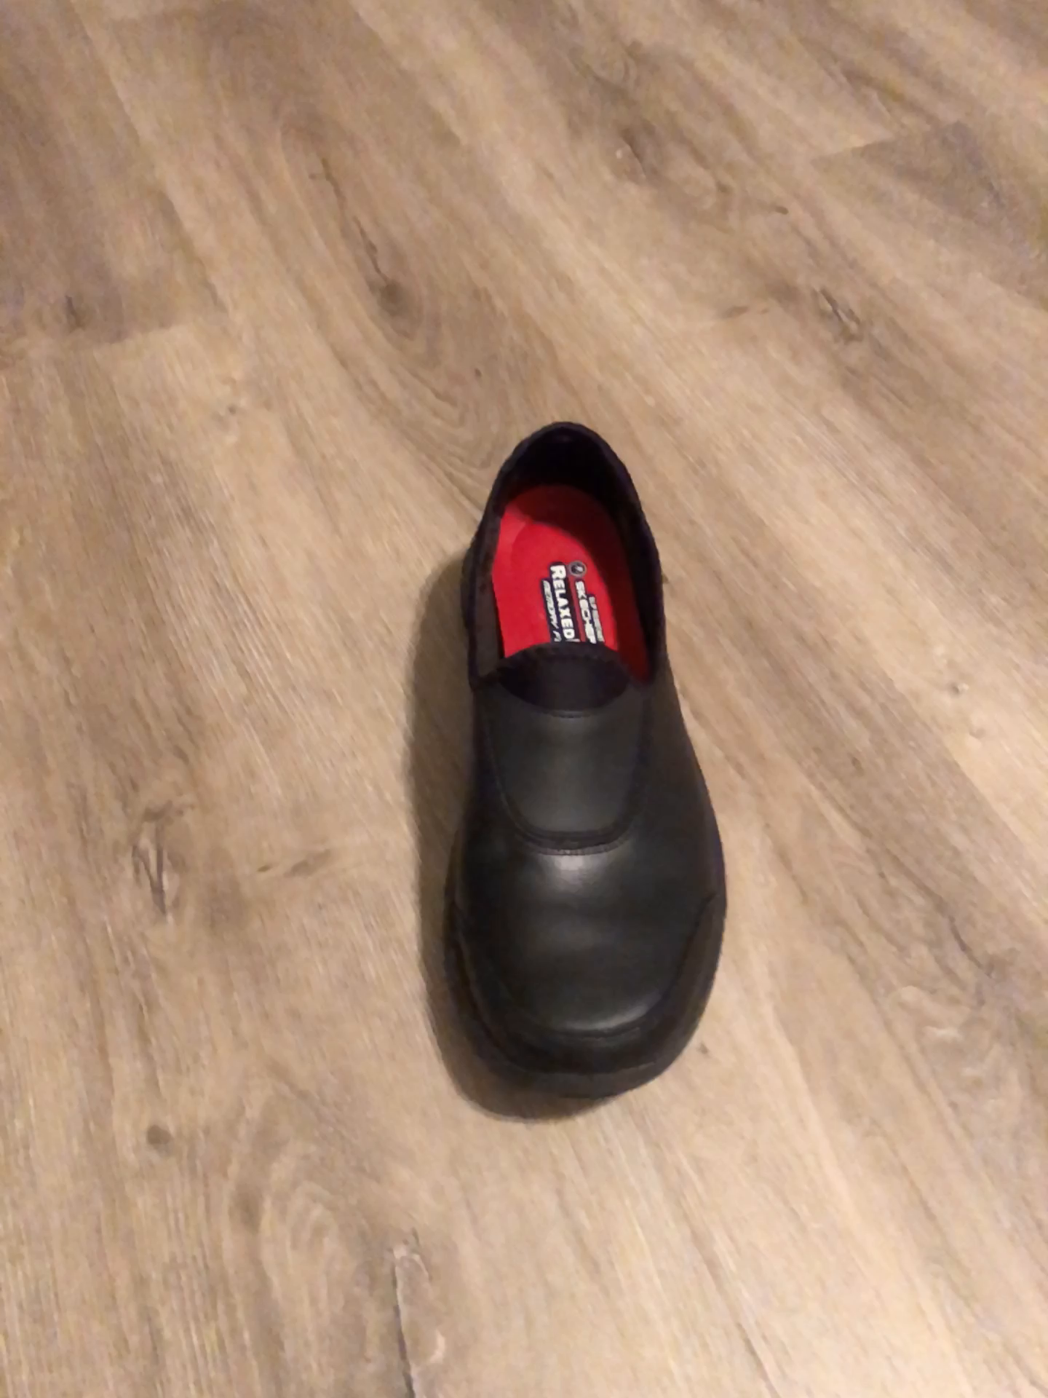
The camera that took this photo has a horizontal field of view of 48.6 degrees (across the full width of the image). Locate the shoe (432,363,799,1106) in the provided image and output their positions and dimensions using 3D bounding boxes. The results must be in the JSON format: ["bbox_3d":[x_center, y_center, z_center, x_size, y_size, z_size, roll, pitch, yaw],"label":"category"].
[{"bbox_3d":[0.017,0.000,0.394,0.090,0.090,0.241,-2,54,-3],"label":"shoe"}]
